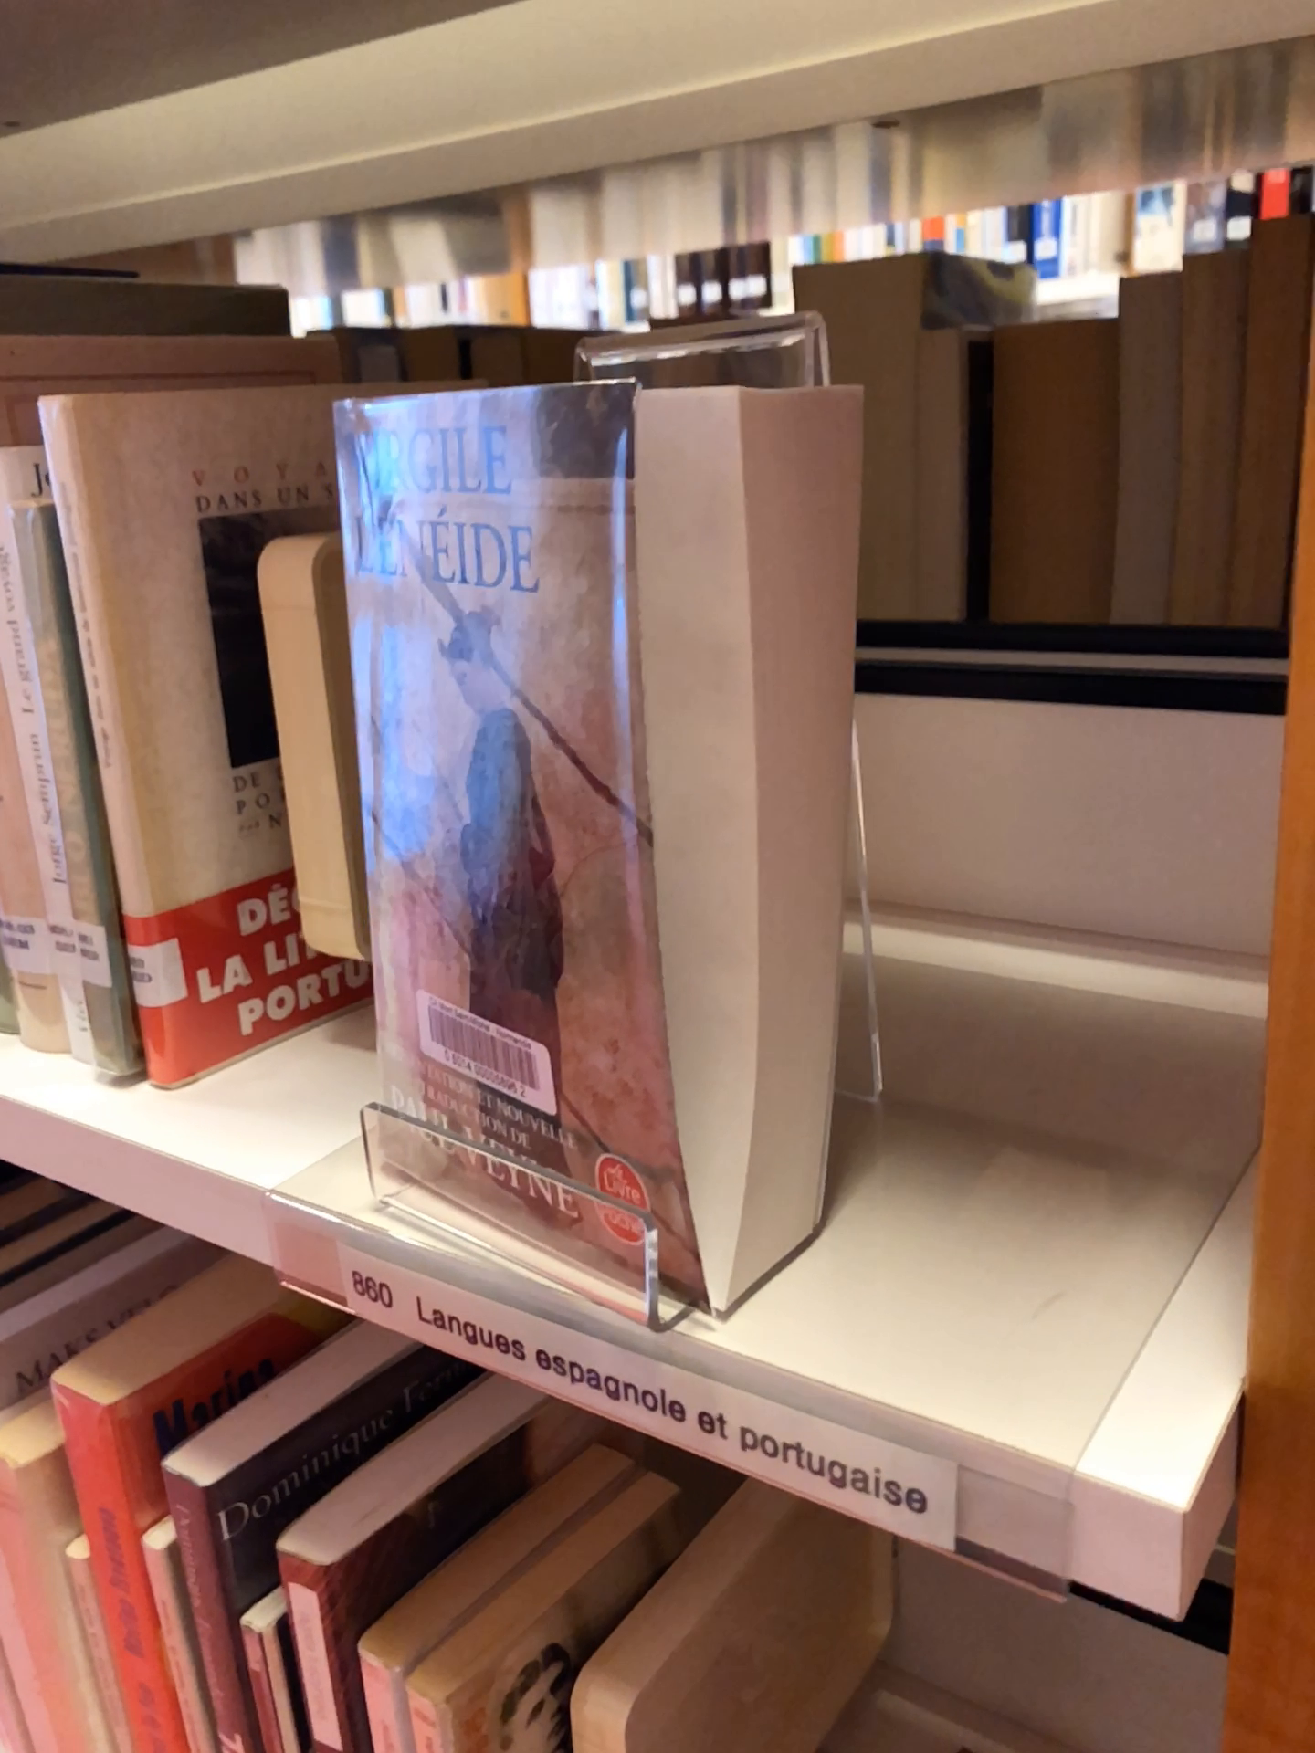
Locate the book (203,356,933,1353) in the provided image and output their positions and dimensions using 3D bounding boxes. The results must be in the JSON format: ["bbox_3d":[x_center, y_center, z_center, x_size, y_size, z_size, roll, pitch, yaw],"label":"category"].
[{"bbox_3d":[-0.018,-0.015,0.307,0.131,0.168,0.074,12,22,43],"label":"book"}]
